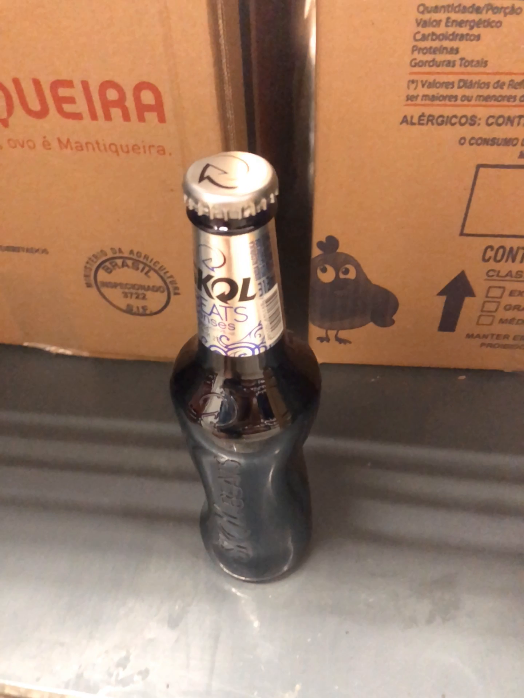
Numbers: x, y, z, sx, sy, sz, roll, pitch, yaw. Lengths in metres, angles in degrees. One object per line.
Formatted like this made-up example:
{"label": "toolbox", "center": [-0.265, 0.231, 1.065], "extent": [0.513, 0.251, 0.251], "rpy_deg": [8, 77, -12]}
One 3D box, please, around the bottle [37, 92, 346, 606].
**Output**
{"label": "bottle", "center": [-0.008, 0.025, 0.250], "extent": [0.070, 0.239, 0.070], "rpy_deg": [-2, 47, 3]}
